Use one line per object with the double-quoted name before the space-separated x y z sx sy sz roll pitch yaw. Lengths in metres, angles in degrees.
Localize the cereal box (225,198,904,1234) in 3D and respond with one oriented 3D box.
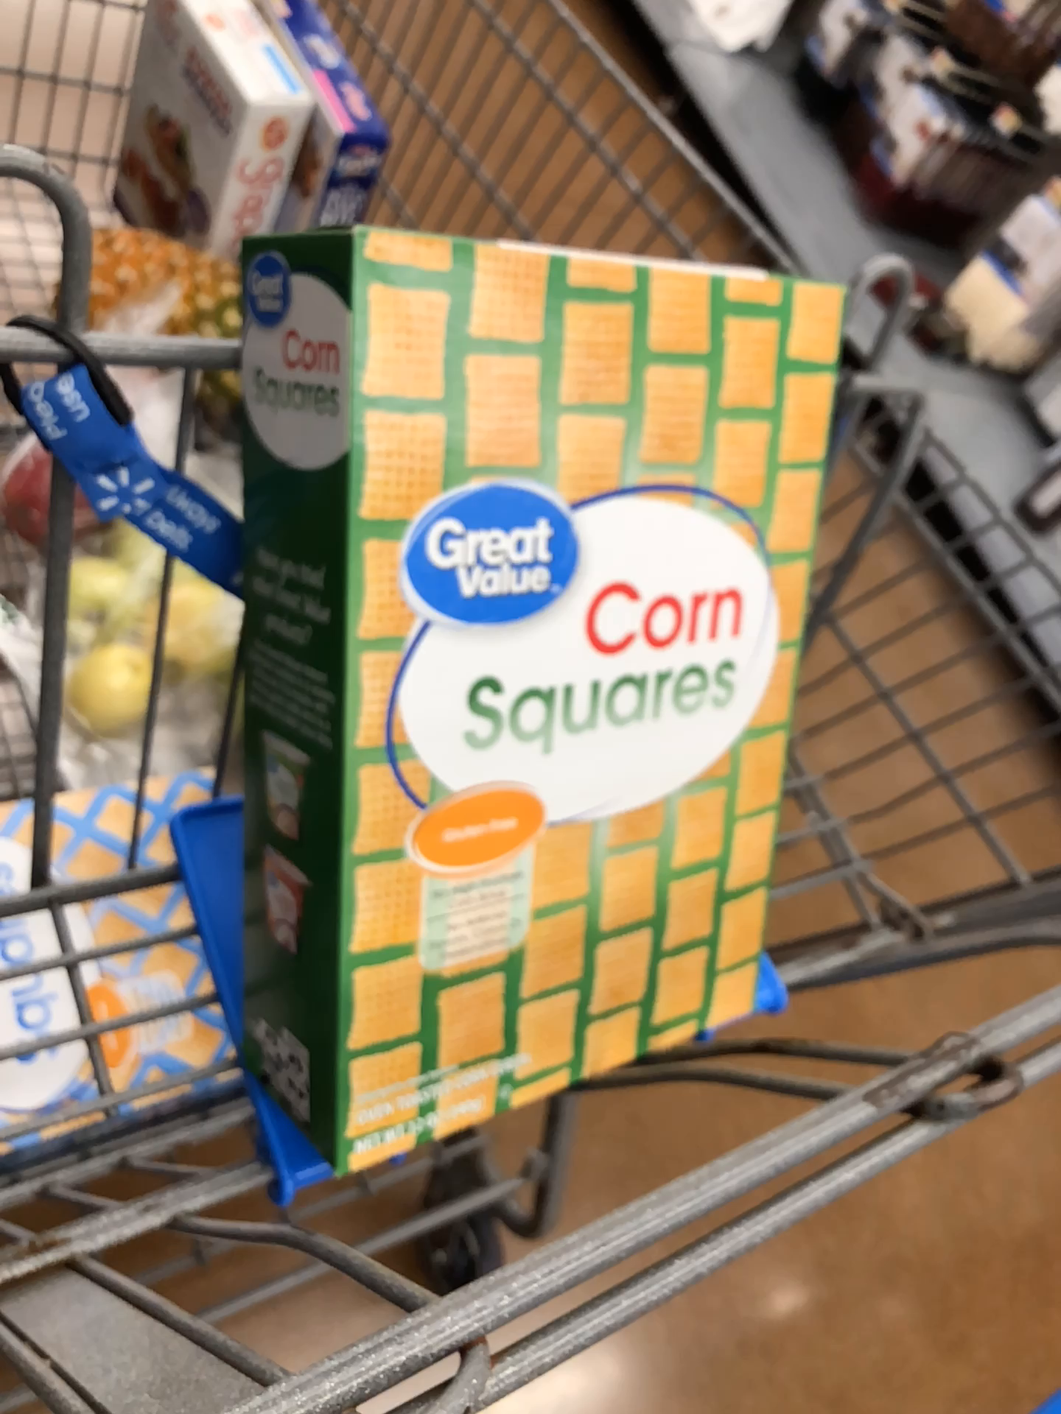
"cereal box" 0.013 -0.003 0.393 0.201 0.280 0.070 -10 21 -36
